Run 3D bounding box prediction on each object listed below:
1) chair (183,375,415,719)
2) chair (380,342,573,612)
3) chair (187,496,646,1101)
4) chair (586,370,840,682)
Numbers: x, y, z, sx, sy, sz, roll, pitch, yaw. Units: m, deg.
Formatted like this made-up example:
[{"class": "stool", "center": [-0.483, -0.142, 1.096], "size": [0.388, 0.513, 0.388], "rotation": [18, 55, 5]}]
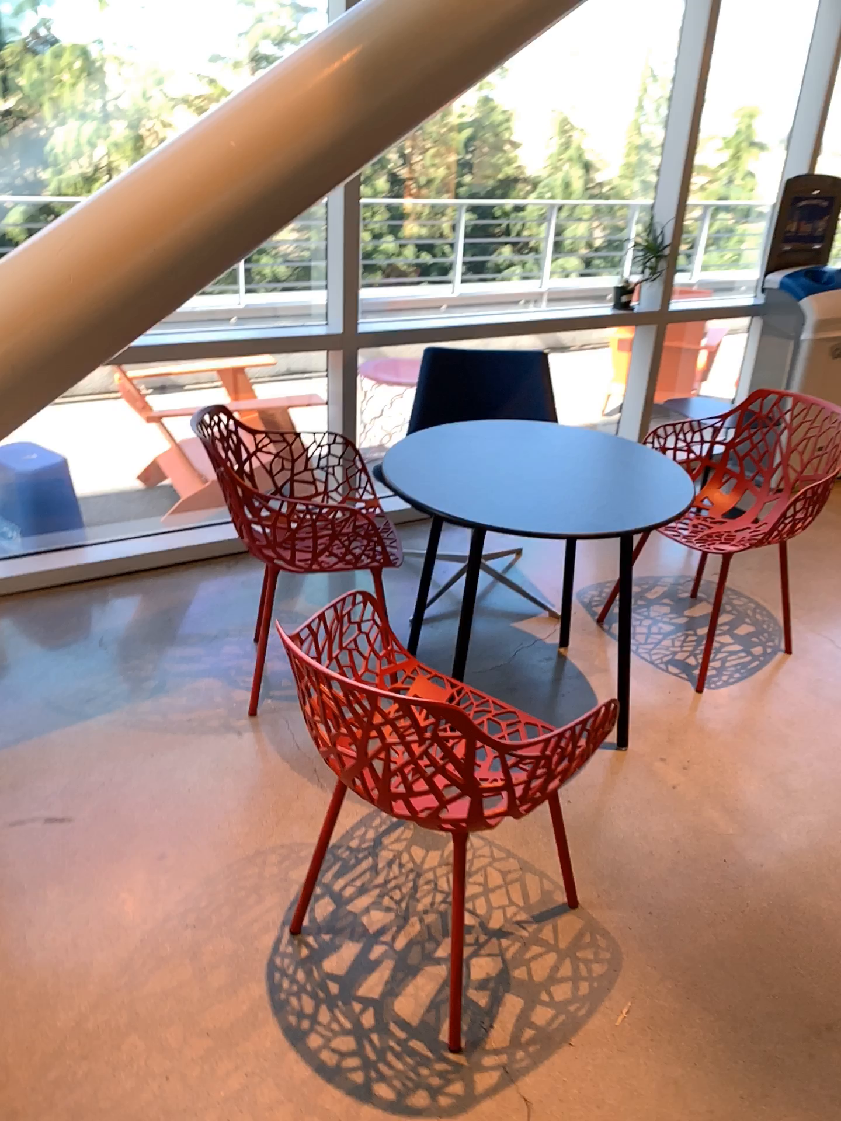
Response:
[{"class": "chair", "center": [-0.300, -0.053, 2.404], "size": [0.530, 0.766, 0.563], "rotation": [3, 26, -1]}, {"class": "chair", "center": [0.165, -0.298, 2.977], "size": [0.560, 0.766, 0.513], "rotation": [3, 26, 0]}, {"class": "chair", "center": [-0.015, 0.384, 1.607], "size": [0.562, 0.766, 0.531], "rotation": [21, 32, 32]}, {"class": "chair", "center": [0.977, -0.142, 2.759], "size": [0.560, 0.766, 0.553], "rotation": [-12, 30, -27]}]
